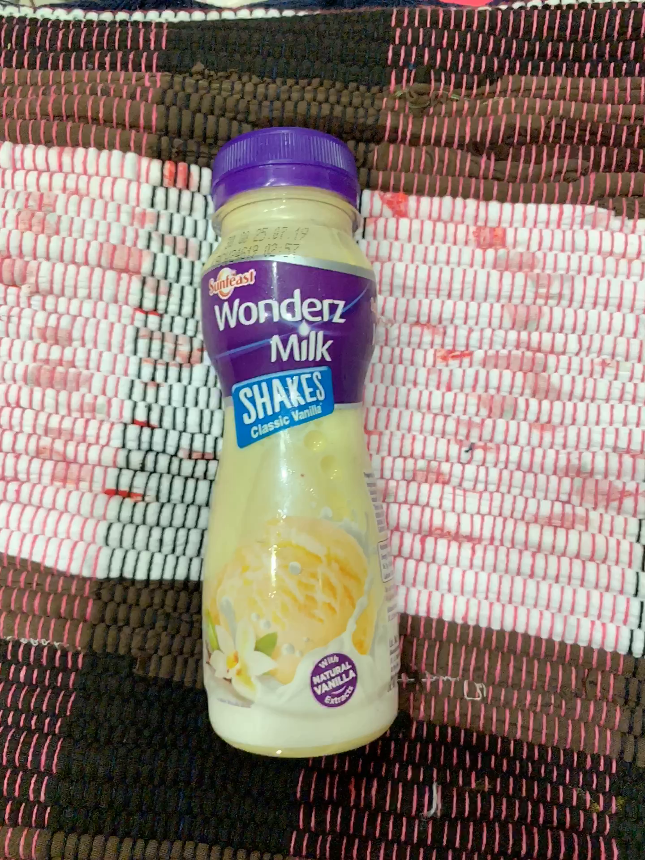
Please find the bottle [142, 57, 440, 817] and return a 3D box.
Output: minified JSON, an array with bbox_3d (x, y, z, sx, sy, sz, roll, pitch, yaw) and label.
[{"bbox_3d":[-0.006,0.001,0.170,0.060,0.050,0.160,-2,86,7],"label":"bottle"}]
